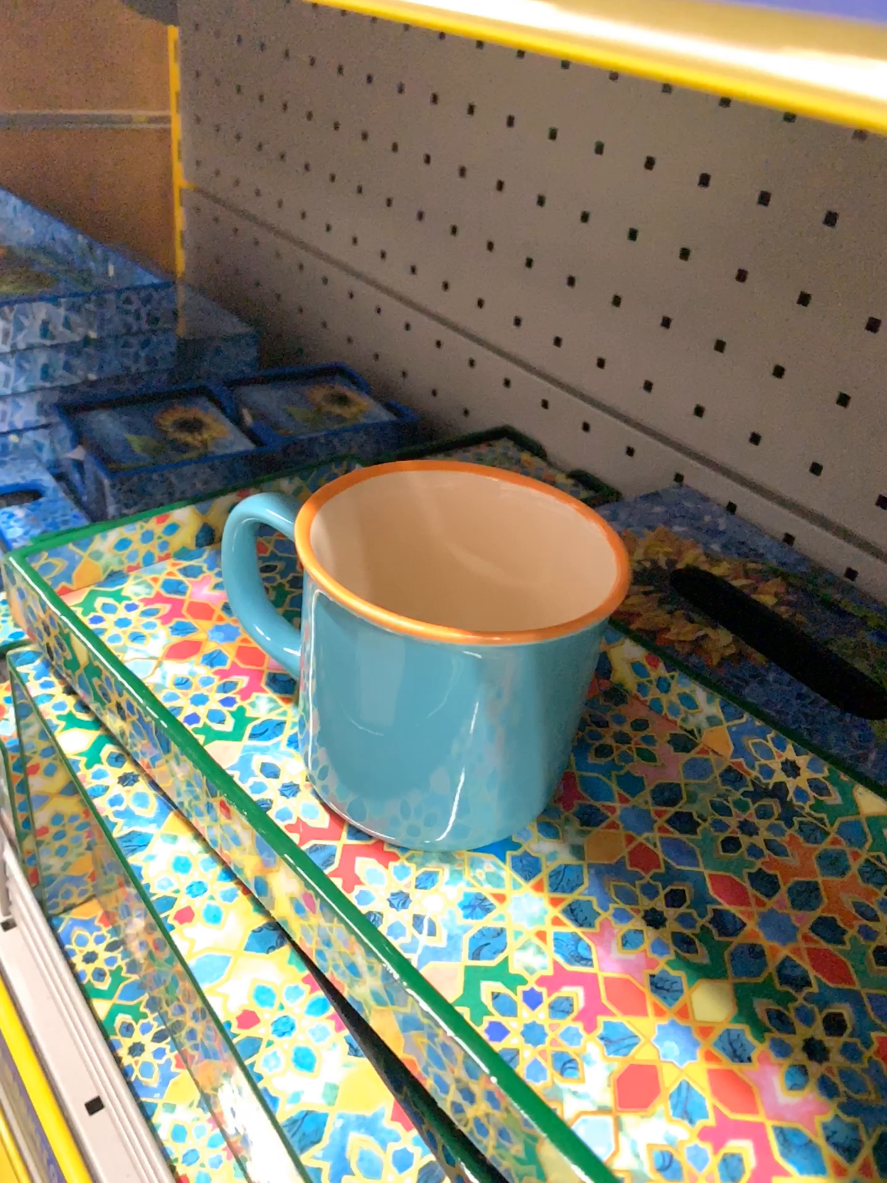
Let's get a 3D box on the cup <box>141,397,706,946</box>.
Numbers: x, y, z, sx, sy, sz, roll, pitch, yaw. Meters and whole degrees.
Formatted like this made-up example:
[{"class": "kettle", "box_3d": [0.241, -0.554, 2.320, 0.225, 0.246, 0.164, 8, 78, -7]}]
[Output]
[{"class": "cup", "box_3d": [-0.009, 0.012, 0.264, 0.120, 0.080, 0.090, 29, 39, 28]}]
